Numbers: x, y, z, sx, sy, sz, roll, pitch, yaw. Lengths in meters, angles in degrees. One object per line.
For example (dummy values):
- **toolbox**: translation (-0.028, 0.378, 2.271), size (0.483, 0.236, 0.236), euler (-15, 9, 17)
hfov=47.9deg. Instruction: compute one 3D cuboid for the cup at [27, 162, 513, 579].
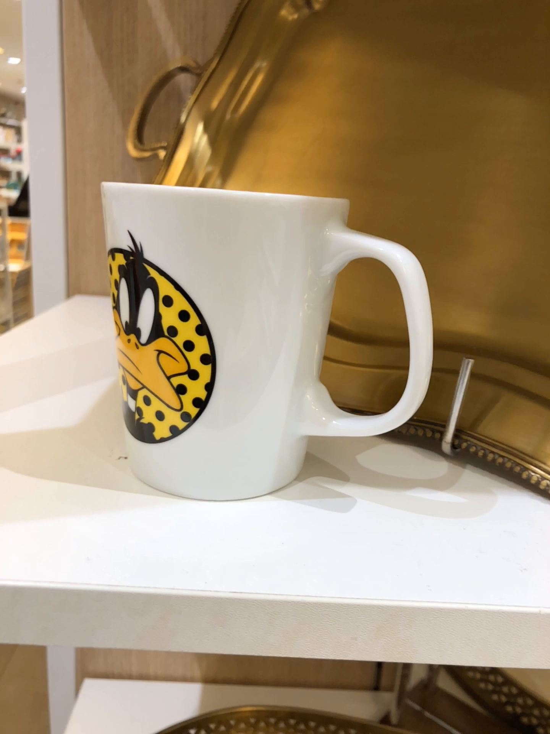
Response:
- **cup**: translation (0.001, -0.014, 0.200), size (0.120, 0.090, 0.090), euler (12, 18, 26)
